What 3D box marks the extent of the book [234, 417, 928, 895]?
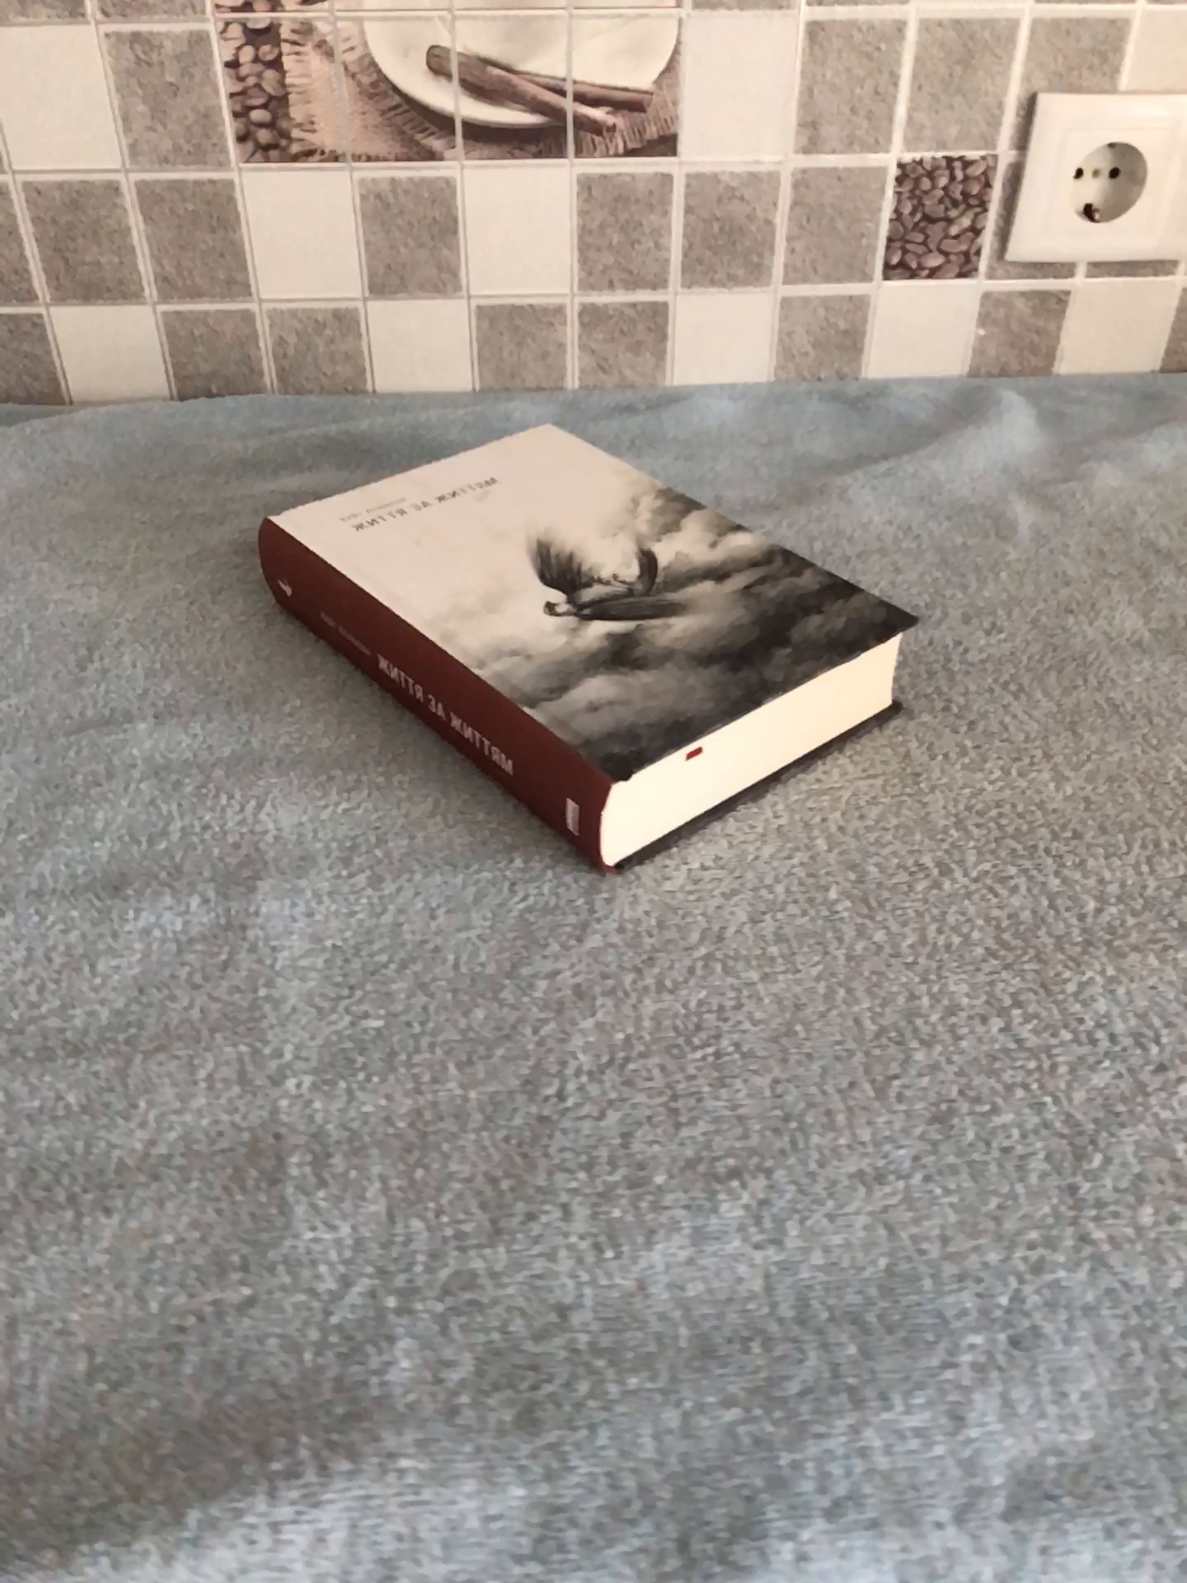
[{"bbox_3d":[-0.012,-0.069,0.500,0.156,0.040,0.221,-27,47,-30],"label":"book"}]
